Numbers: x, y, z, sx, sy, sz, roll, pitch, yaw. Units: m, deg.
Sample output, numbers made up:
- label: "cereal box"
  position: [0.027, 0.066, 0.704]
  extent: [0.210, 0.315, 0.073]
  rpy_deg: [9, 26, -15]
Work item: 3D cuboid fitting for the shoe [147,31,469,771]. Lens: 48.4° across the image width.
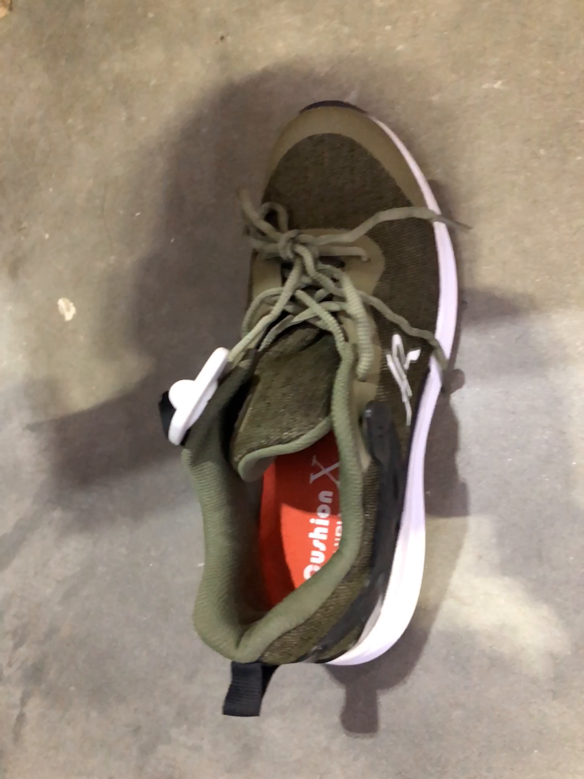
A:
- label: "shoe"
  position: [0.017, 0.001, 0.322]
  extent: [0.120, 0.100, 0.290]
  rpy_deg: [0, 84, 22]
